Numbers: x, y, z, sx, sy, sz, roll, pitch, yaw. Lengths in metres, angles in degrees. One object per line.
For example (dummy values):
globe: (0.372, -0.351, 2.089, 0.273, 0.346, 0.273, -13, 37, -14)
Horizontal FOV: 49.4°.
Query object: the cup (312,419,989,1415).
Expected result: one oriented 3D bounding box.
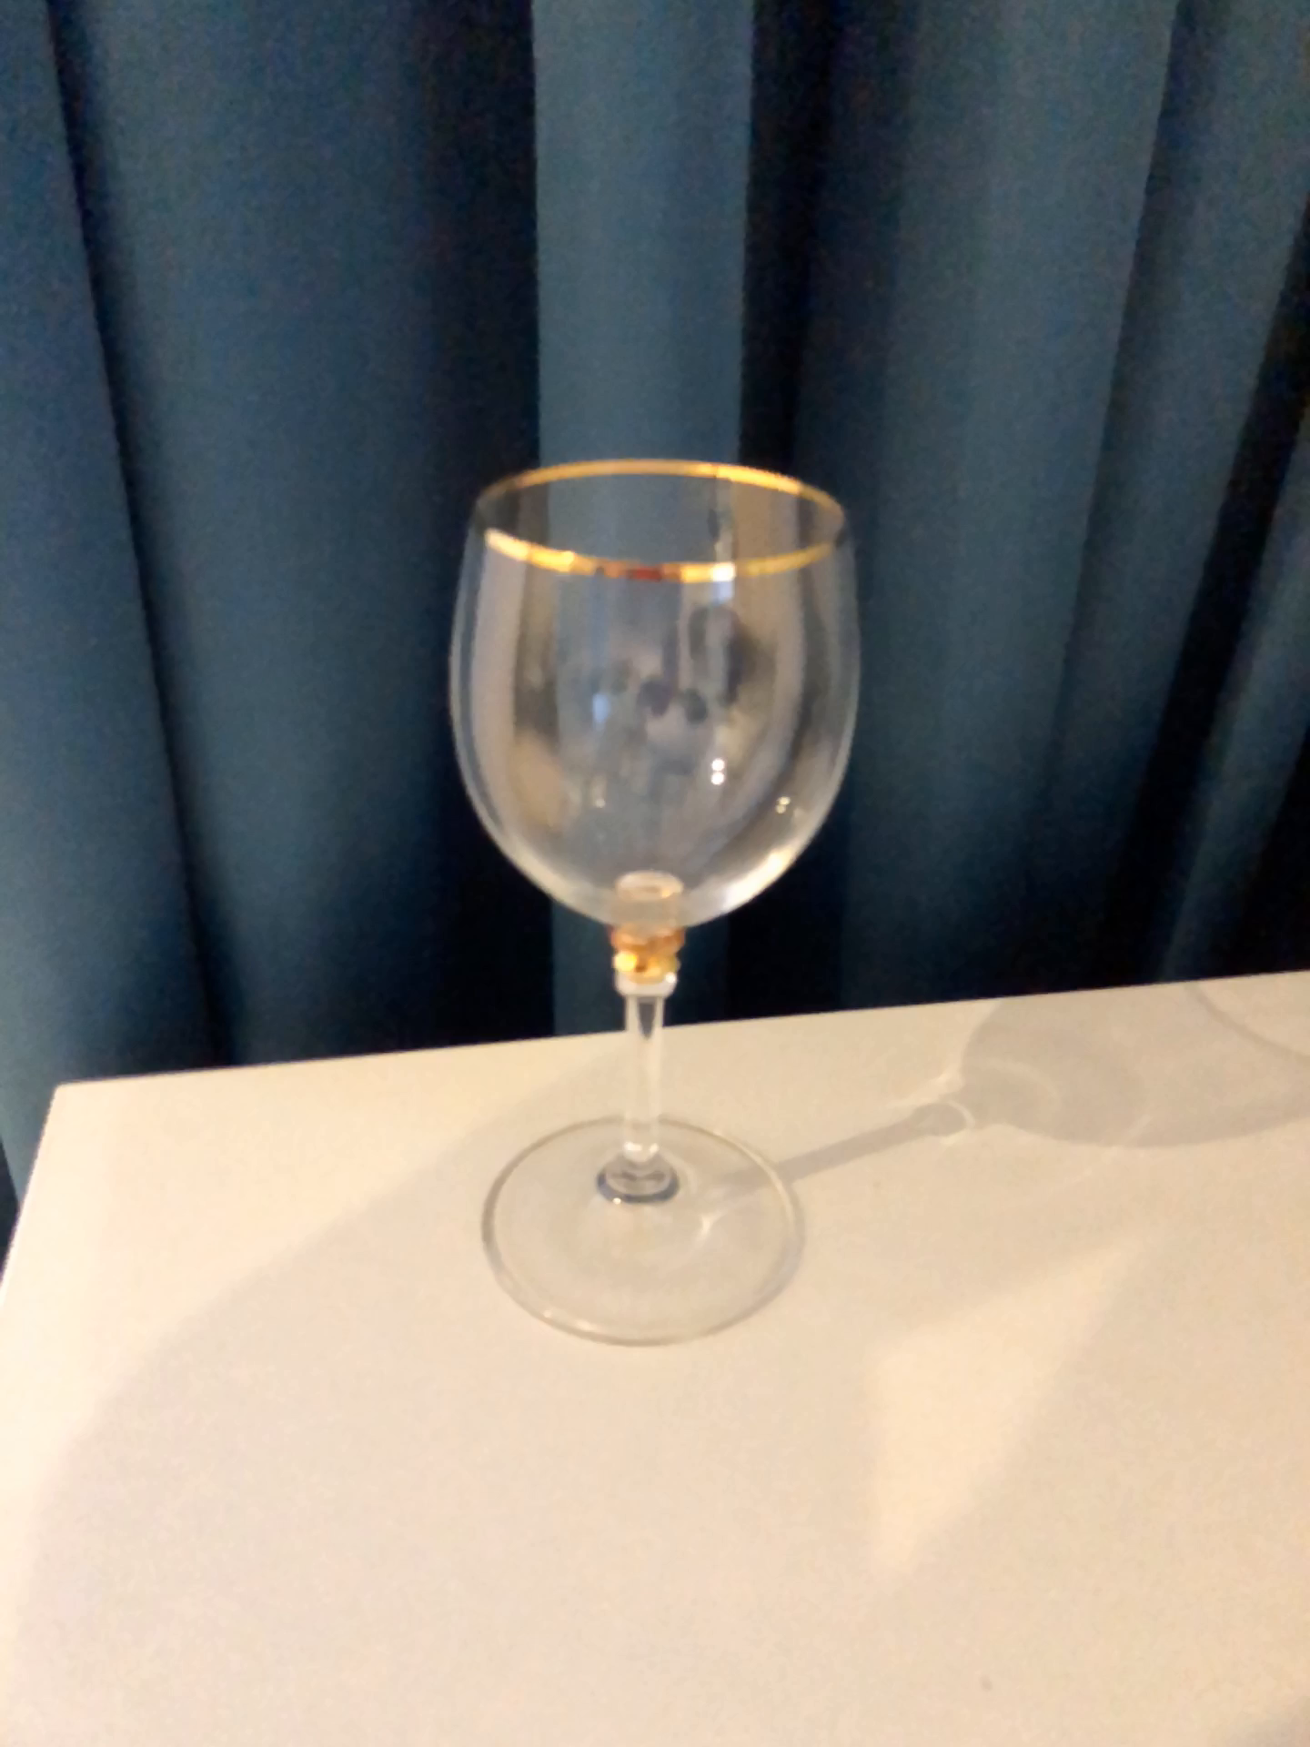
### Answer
cup: (0.002, 0.003, 0.319, 0.100, 0.179, 0.101, 1, 27, -1)
